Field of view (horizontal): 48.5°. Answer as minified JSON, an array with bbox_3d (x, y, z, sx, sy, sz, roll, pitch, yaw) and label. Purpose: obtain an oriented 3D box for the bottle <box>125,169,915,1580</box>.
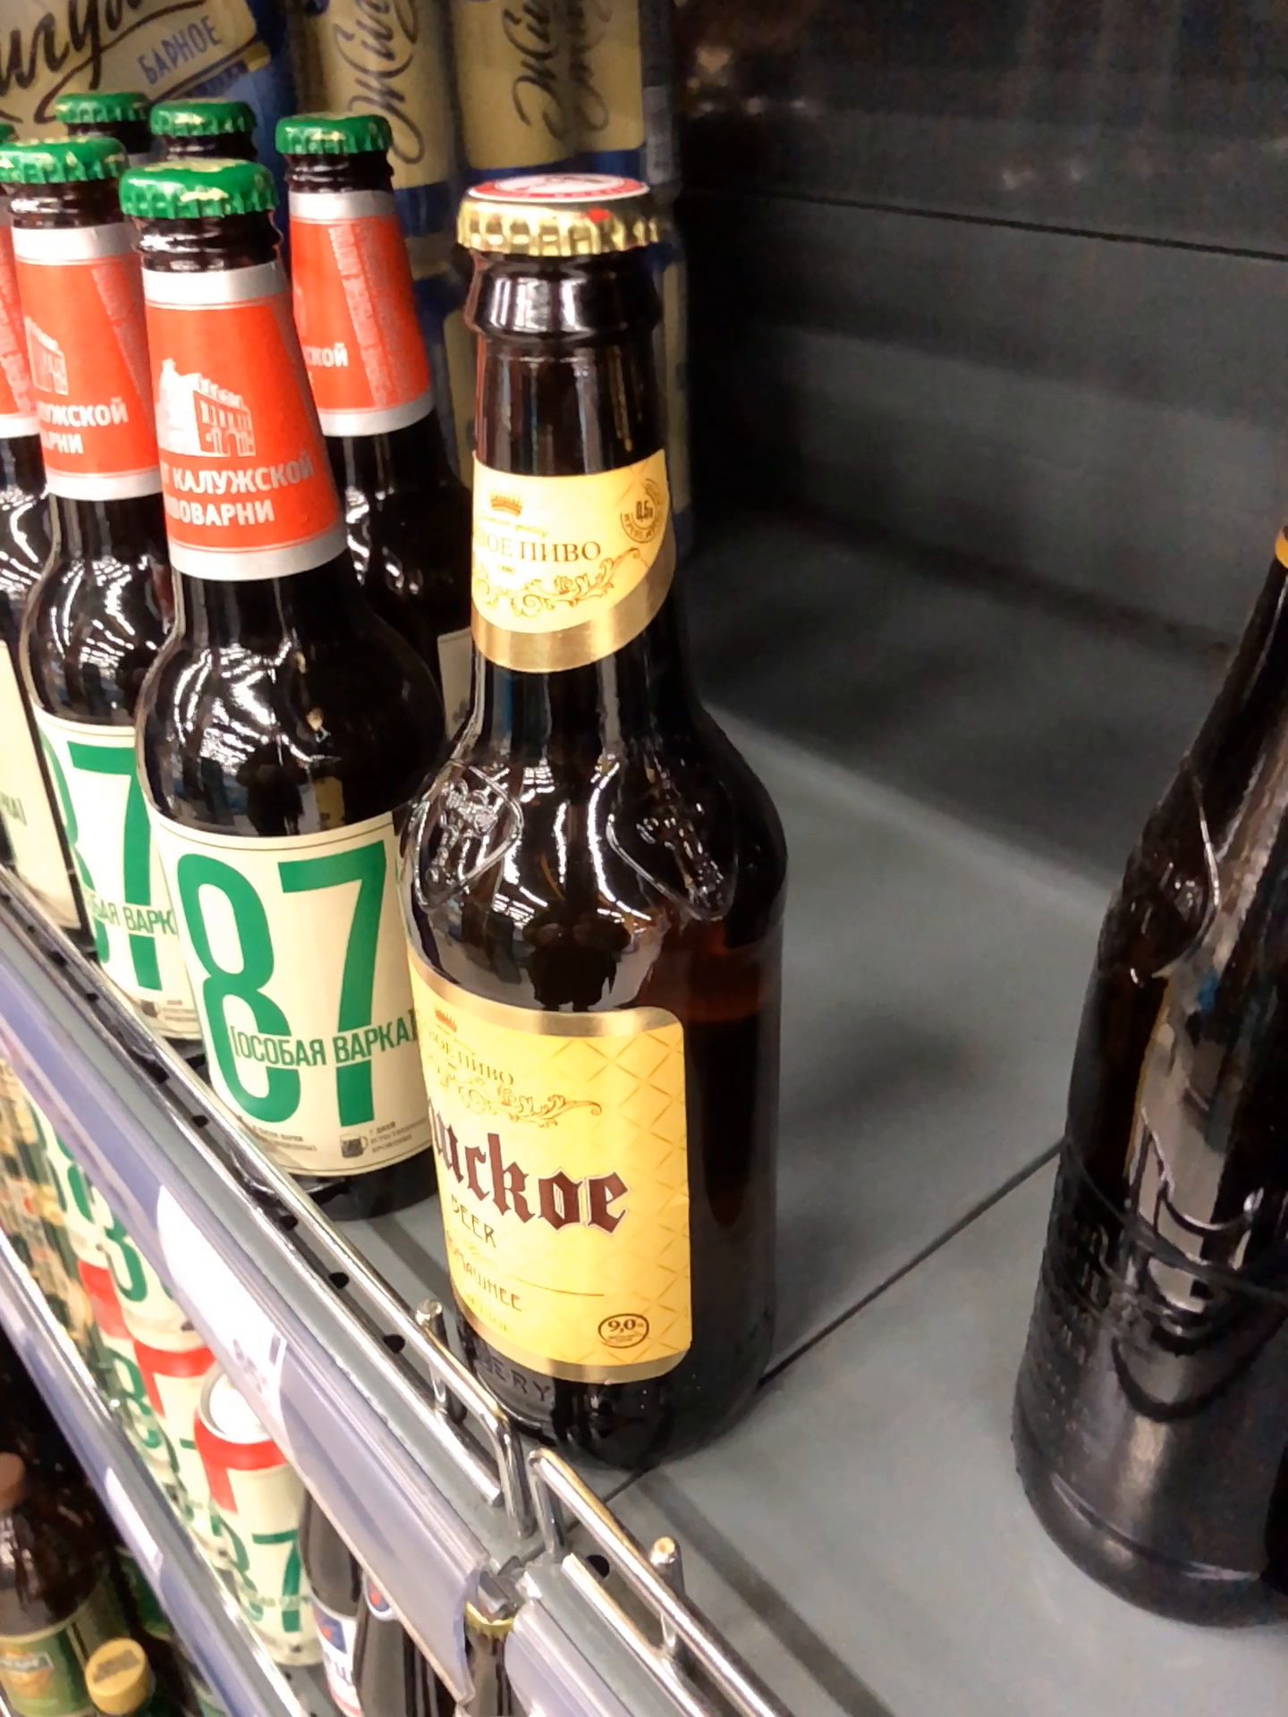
[{"bbox_3d":[-0.014,0.010,0.266,0.080,0.239,0.080,-2,32,1],"label":"bottle"}]
